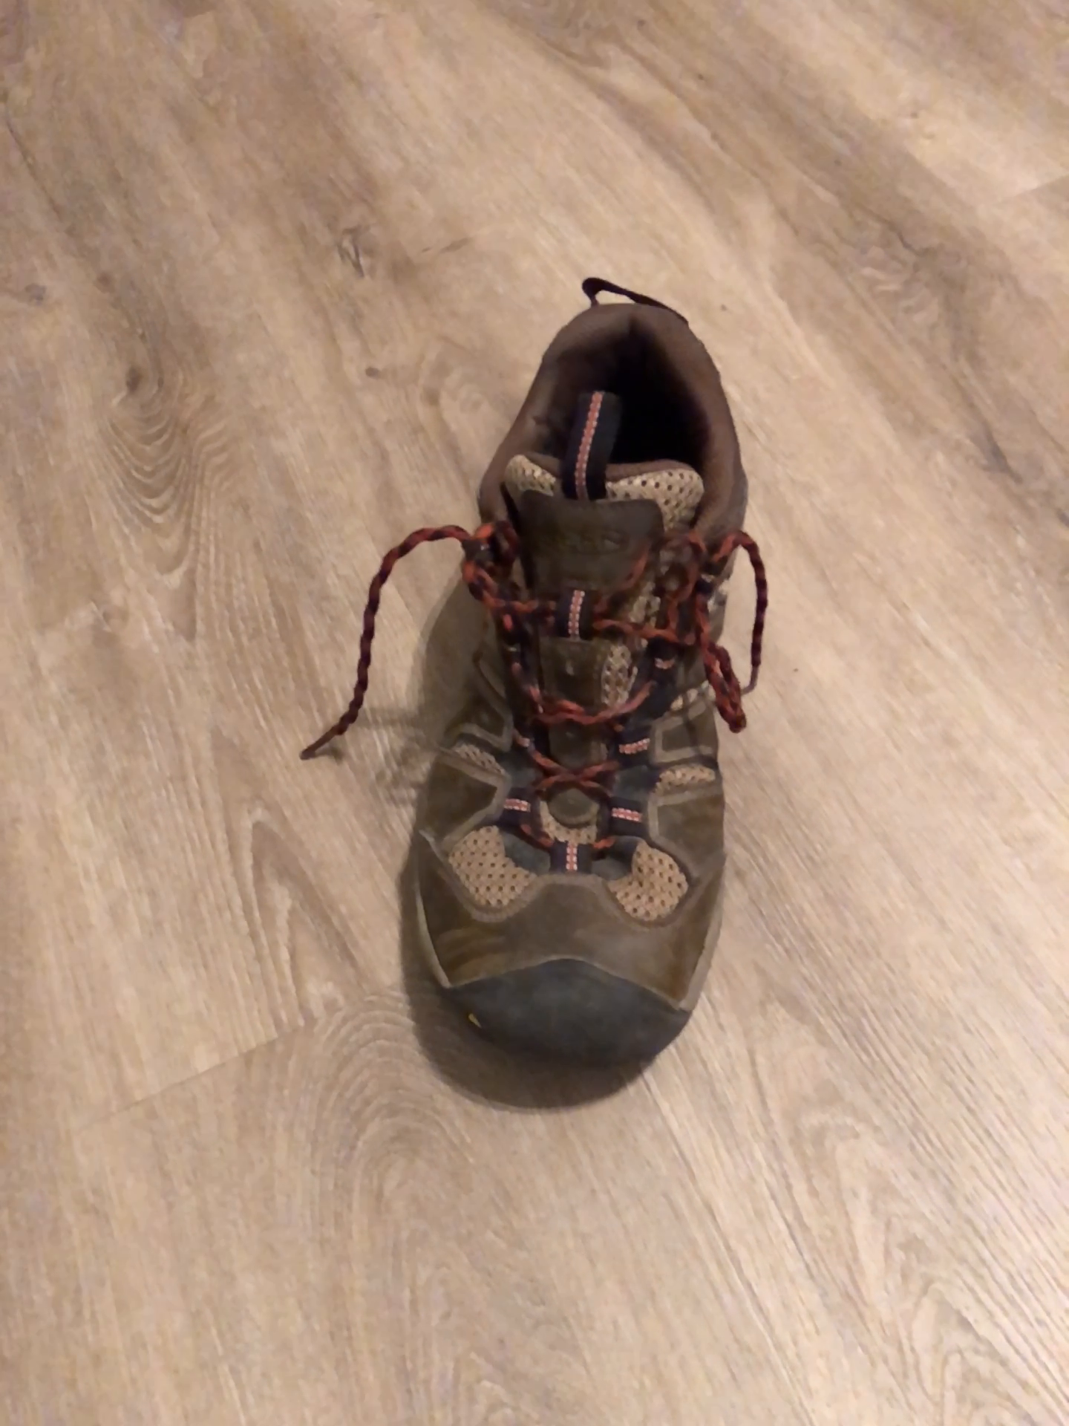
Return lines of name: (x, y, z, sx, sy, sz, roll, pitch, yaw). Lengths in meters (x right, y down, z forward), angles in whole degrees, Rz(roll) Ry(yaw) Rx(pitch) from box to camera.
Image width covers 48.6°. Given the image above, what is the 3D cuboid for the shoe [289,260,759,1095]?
shoe: (0.014, -0.026, 0.403, 0.110, 0.100, 0.271, 3, 57, 9)
